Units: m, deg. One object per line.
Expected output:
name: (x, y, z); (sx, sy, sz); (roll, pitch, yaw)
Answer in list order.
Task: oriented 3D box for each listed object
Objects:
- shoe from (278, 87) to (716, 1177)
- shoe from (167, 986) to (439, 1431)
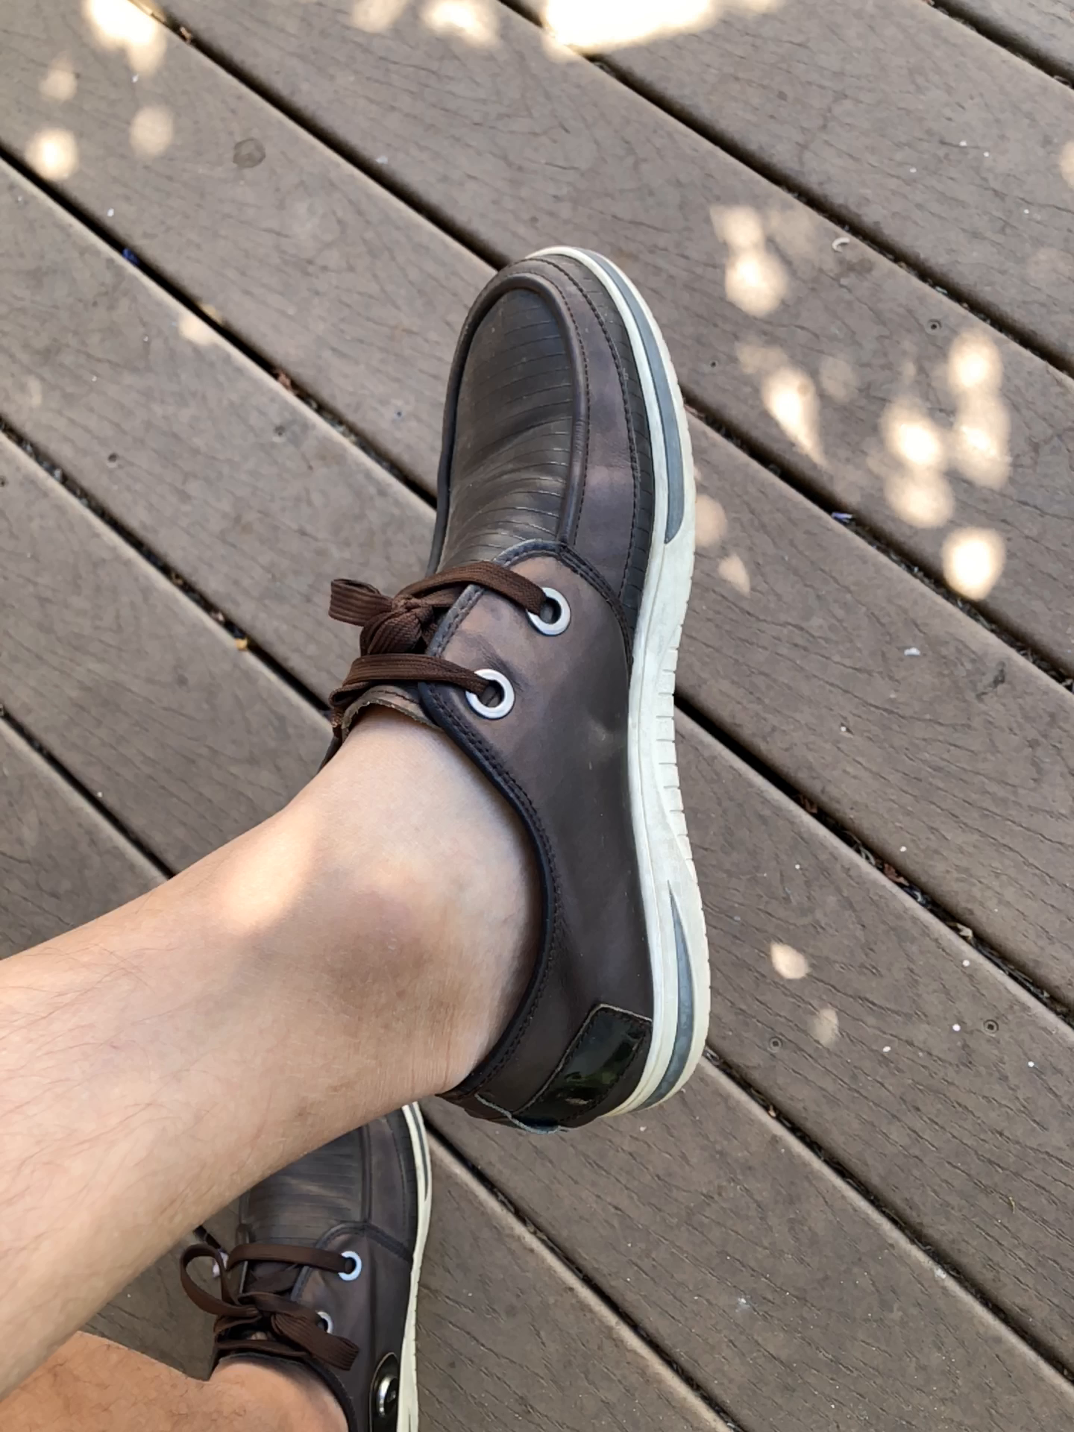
shoe: (-0.015, -0.020, 0.336); (0.090, 0.083, 0.255); (-7, 83, 54)
shoe: (-0.116, 0.274, 0.618); (0.103, 0.099, 0.245); (0, 85, 10)
